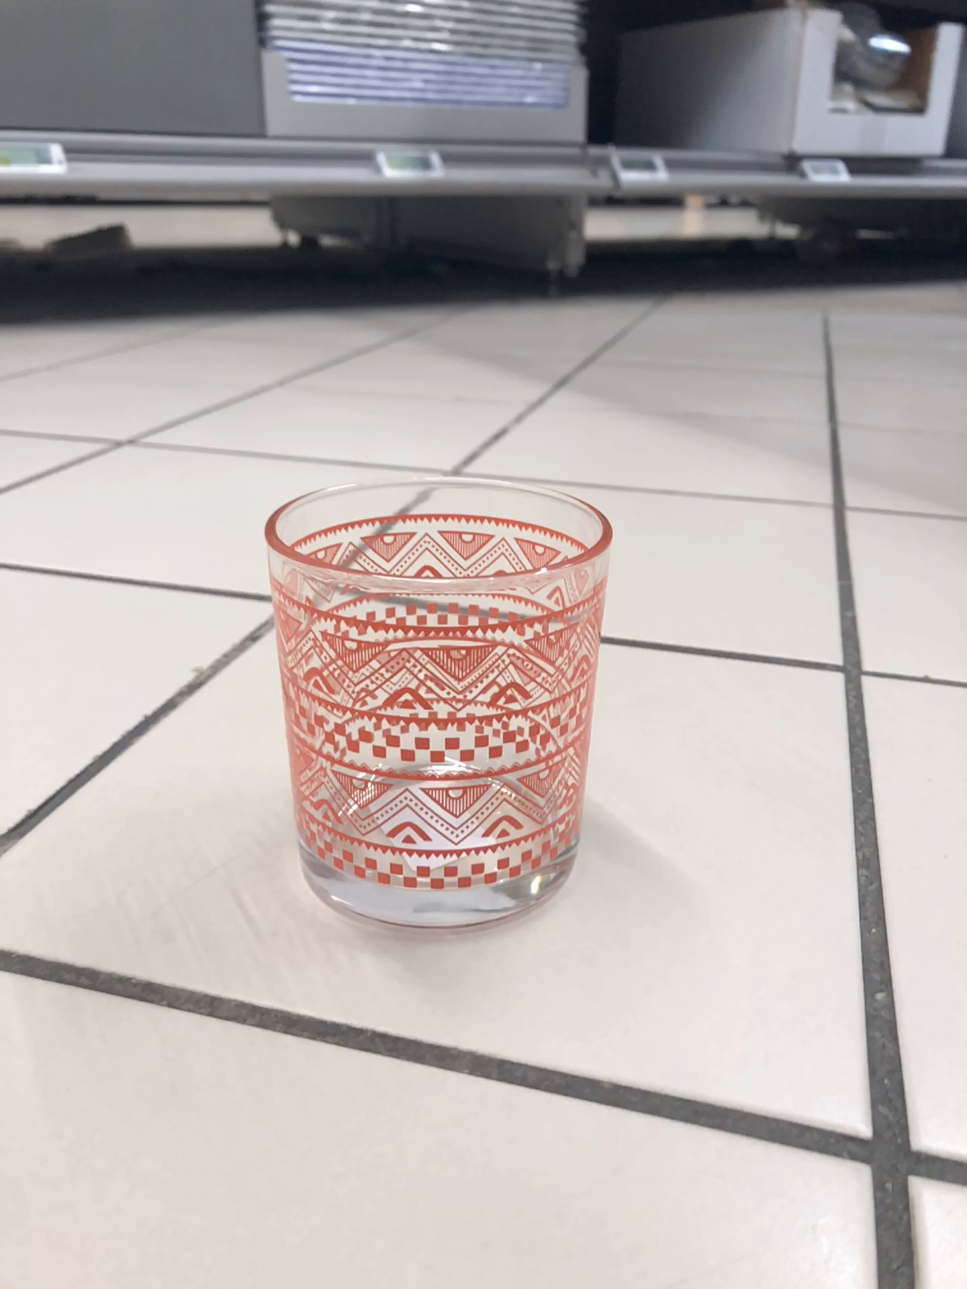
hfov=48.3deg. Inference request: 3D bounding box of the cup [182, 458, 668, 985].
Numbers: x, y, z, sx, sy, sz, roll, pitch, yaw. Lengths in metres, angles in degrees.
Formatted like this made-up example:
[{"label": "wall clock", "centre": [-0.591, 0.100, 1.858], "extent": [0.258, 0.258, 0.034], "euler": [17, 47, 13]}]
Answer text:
[{"label": "cup", "centre": [-0.007, 0.010, 0.242], "extent": [0.078, 0.078, 0.084], "euler": [1, 23, 0]}]
